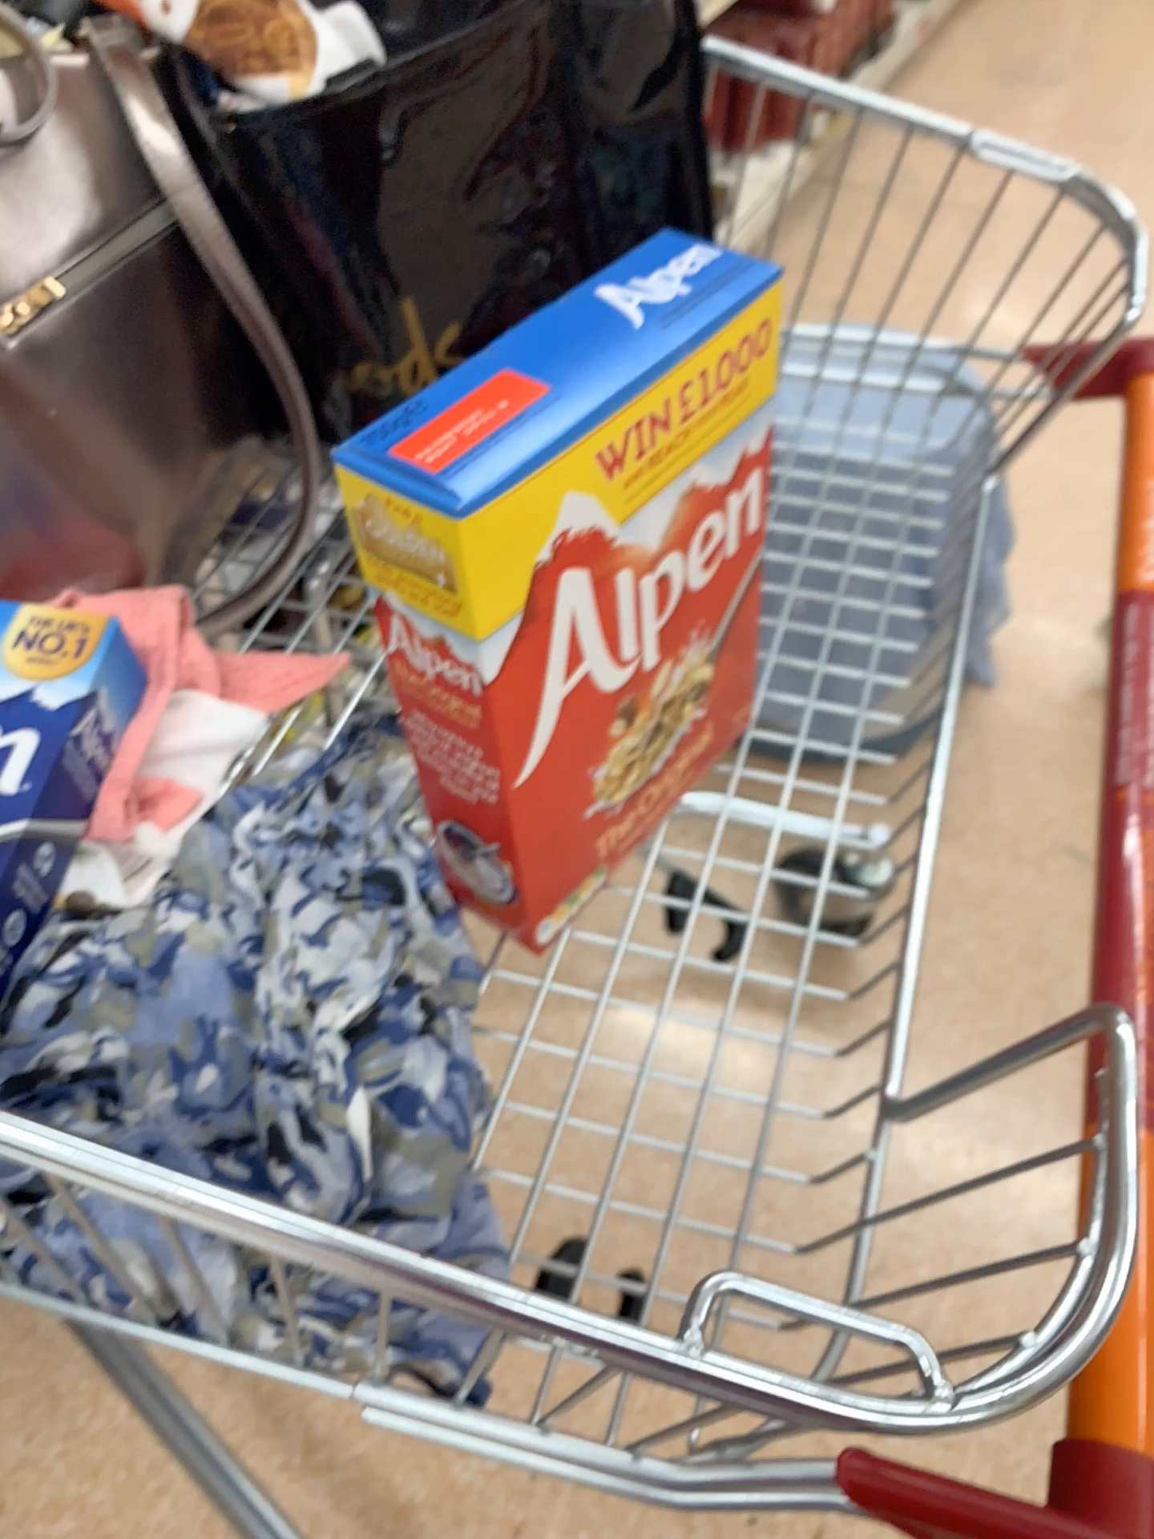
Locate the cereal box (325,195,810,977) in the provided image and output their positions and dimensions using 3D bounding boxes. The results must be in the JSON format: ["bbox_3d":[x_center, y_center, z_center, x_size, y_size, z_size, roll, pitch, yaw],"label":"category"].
[{"bbox_3d":[0.006,-0.063,0.478,0.060,0.248,0.181,28,54,24],"label":"cereal box"}]
